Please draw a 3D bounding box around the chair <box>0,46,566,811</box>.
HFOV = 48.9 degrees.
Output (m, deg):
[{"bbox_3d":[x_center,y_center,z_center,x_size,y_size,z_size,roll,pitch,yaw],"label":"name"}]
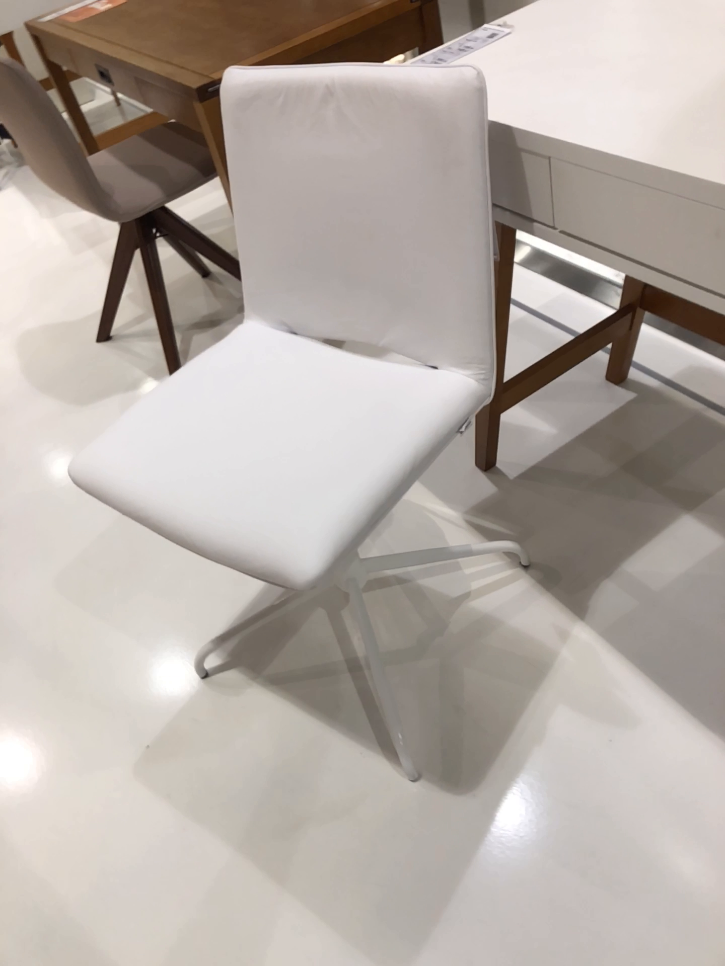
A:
[{"bbox_3d":[-0.083,-0.064,1.132,0.512,0.843,0.502,19,53,34],"label":"chair"}]
